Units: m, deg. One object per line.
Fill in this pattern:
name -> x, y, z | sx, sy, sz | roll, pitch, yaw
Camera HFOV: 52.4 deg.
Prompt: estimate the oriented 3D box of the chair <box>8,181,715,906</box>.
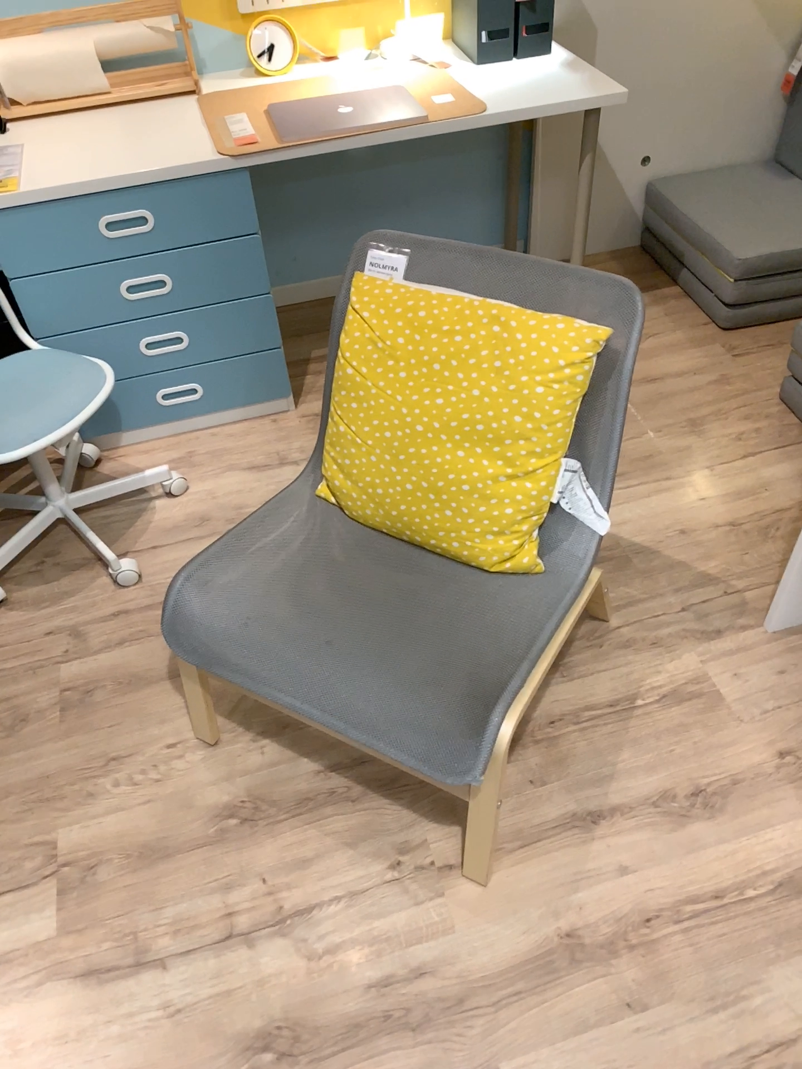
chair -> 0.007, -0.024, 1.261 | 0.631, 0.707, 0.672 | 19, 48, 23
